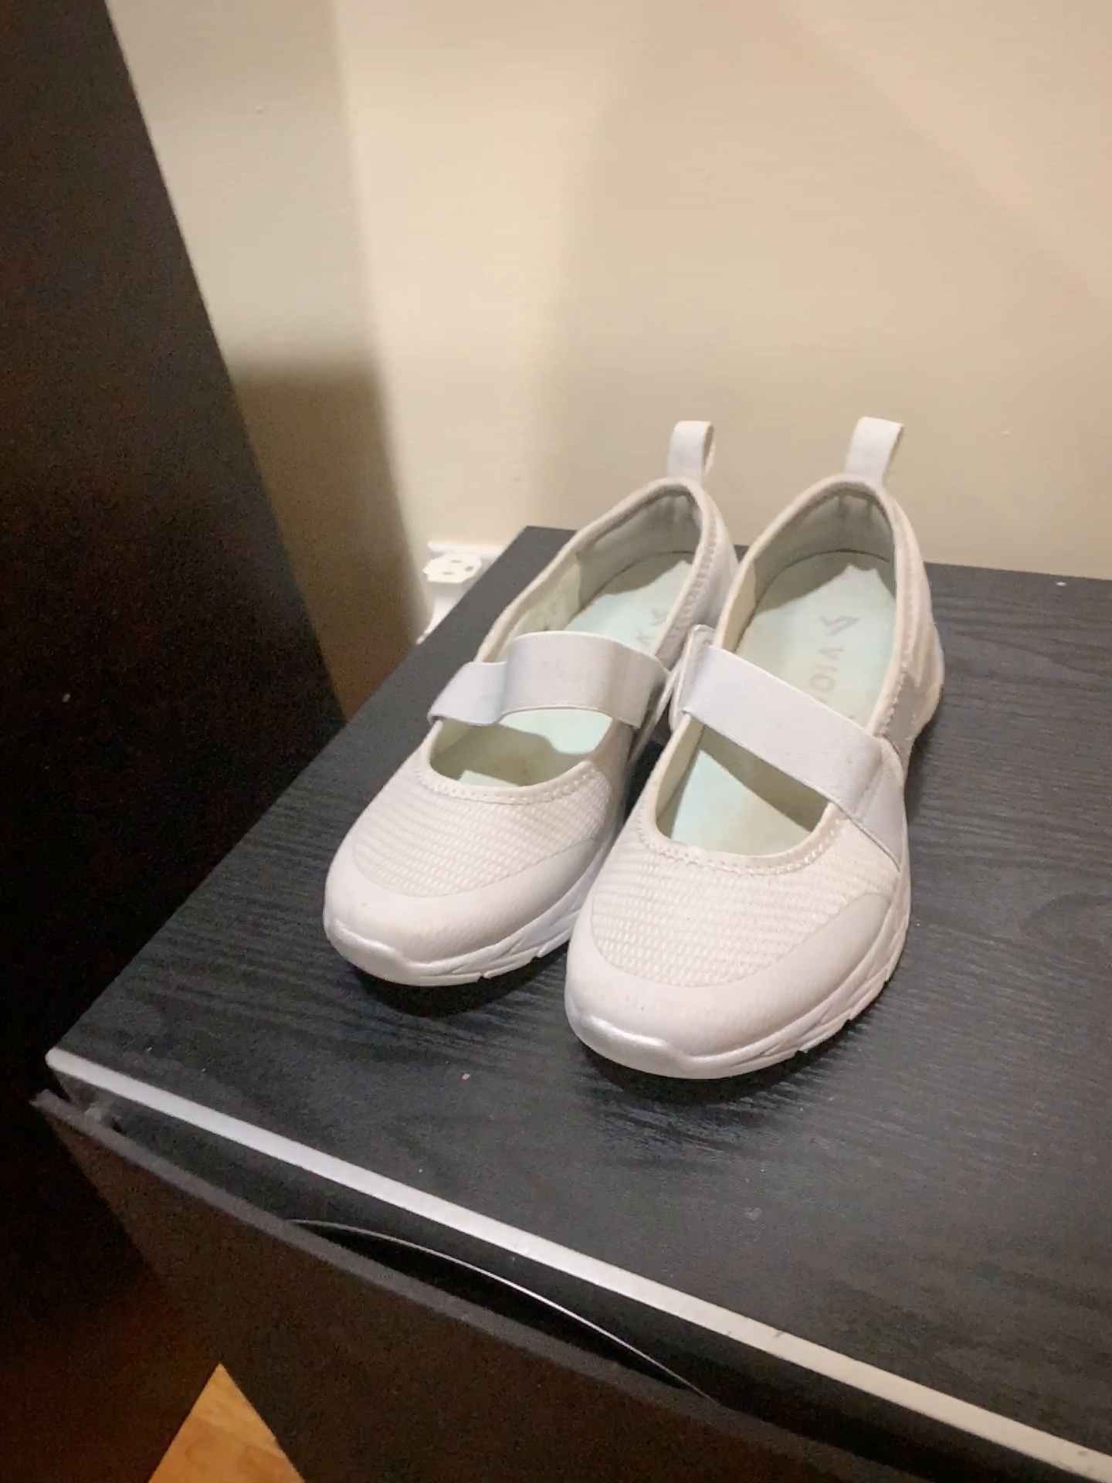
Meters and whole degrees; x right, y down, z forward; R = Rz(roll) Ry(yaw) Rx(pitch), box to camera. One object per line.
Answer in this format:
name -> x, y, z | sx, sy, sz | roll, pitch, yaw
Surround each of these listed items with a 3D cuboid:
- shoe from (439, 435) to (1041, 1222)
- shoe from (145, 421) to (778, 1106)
shoe -> 0.078, 0.002, 0.371 | 0.102, 0.093, 0.250 | 11, 43, 25
shoe -> -0.009, -0.015, 0.412 | 0.102, 0.093, 0.250 | 11, 43, 25
